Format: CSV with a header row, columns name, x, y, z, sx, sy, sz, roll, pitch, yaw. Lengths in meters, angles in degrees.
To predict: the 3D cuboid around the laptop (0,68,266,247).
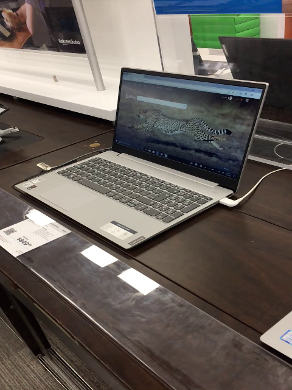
name,x,y,z,sx,sy,sz,roll,pitch,yaw
laptop,-0.034,-0.102,0.743,0.331,0.194,0.345,-32,40,-32
